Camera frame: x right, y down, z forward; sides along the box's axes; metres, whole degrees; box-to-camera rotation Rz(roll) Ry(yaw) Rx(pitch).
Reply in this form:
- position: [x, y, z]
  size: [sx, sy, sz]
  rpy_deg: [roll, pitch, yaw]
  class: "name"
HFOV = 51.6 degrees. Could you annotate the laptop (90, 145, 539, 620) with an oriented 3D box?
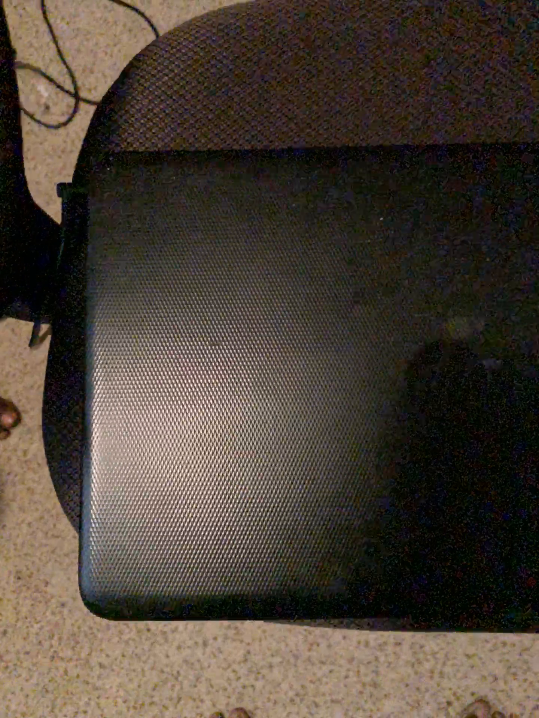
- position: [0.099, 0.007, 0.306]
  size: [0.378, 0.018, 0.244]
  rpy_deg: [-1, 85, -3]
  class: "laptop"
